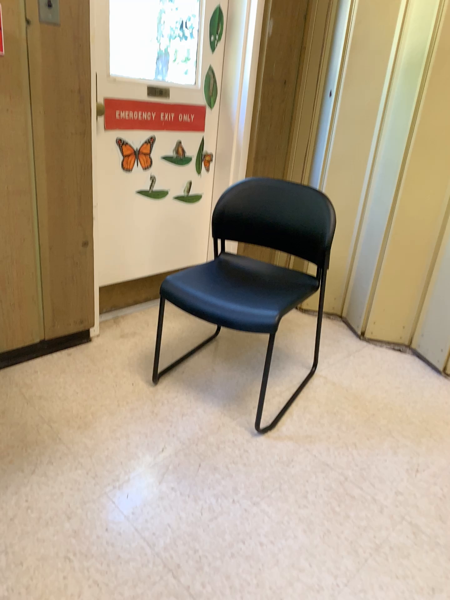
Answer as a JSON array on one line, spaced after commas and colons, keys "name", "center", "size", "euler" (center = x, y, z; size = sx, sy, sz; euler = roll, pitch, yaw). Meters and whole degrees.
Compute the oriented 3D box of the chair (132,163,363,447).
[{"name": "chair", "center": [0.083, -0.049, 1.751], "size": [0.581, 0.796, 0.622], "euler": [17, 25, 24]}]
